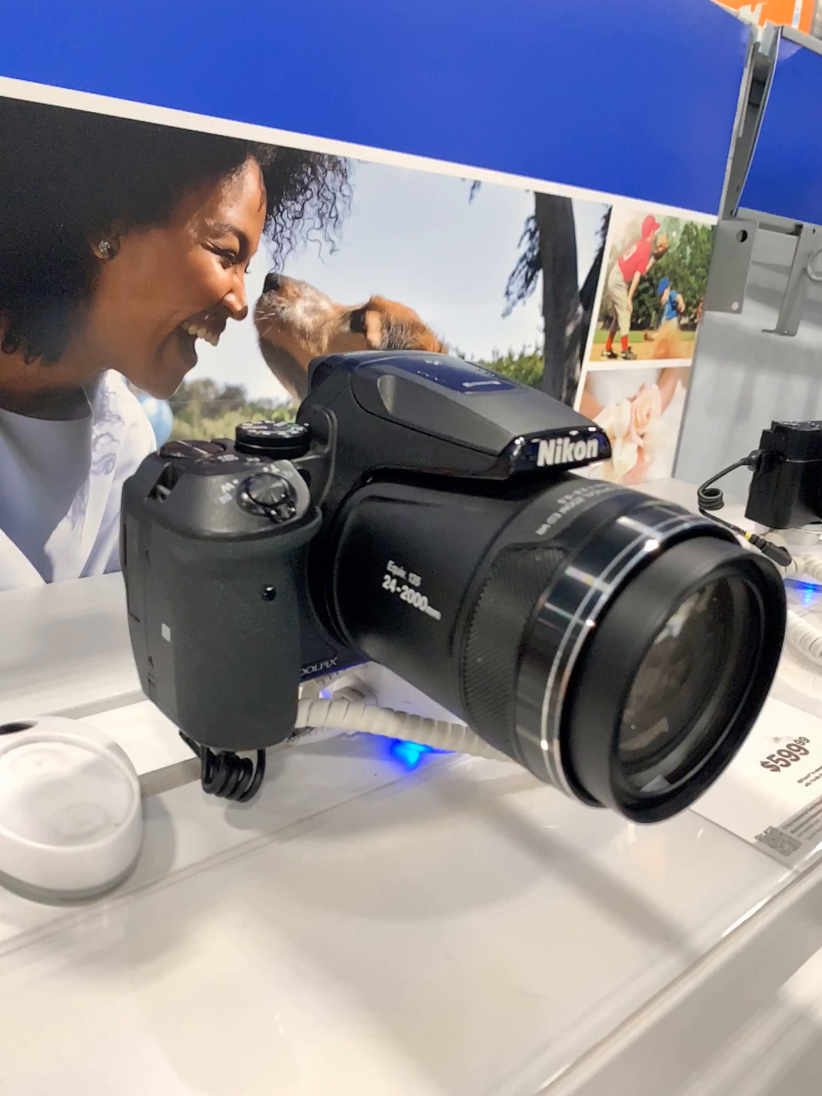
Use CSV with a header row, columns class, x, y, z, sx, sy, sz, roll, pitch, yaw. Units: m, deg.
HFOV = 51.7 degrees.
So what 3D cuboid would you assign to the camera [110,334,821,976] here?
class,x,y,z,sx,sy,sz,roll,pitch,yaw
camera,0.015,0.000,0.239,0.140,0.100,0.153,-9,21,-40
